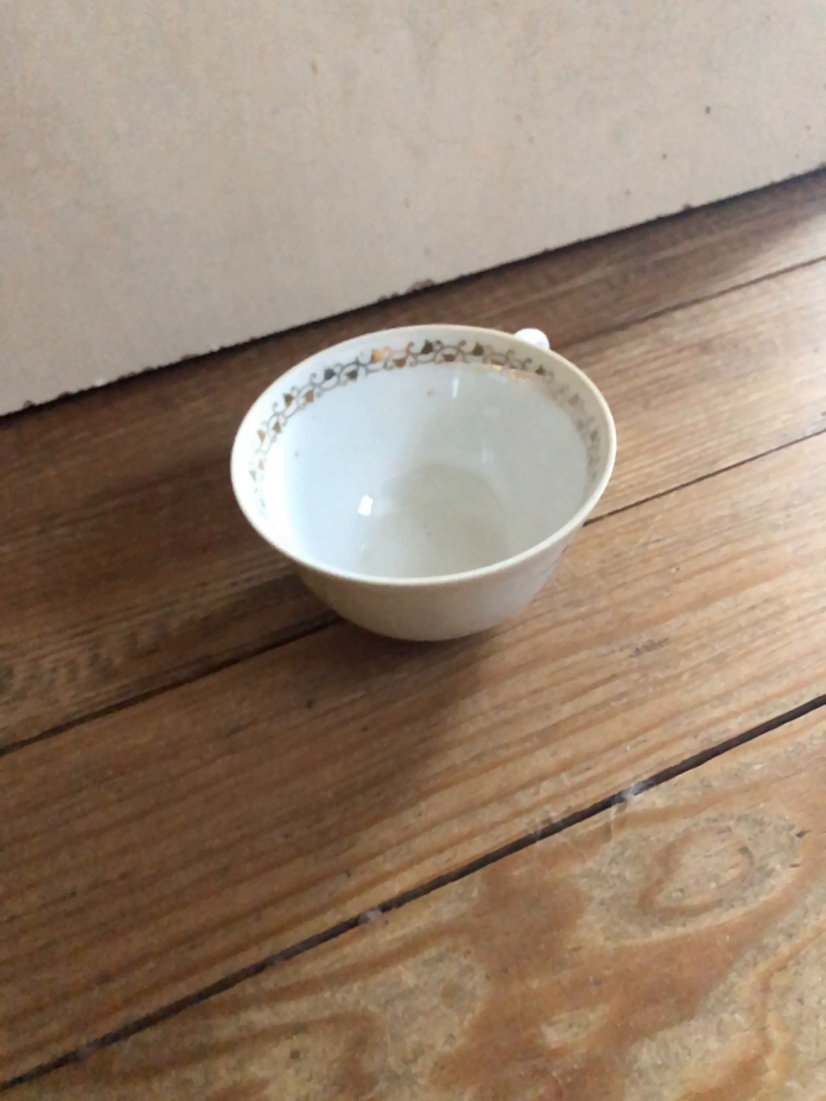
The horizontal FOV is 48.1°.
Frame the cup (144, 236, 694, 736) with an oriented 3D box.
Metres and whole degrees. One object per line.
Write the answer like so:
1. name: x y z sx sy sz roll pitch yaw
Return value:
1. cup: 0.006 -0.023 0.216 0.080 0.040 0.101 23 53 22
